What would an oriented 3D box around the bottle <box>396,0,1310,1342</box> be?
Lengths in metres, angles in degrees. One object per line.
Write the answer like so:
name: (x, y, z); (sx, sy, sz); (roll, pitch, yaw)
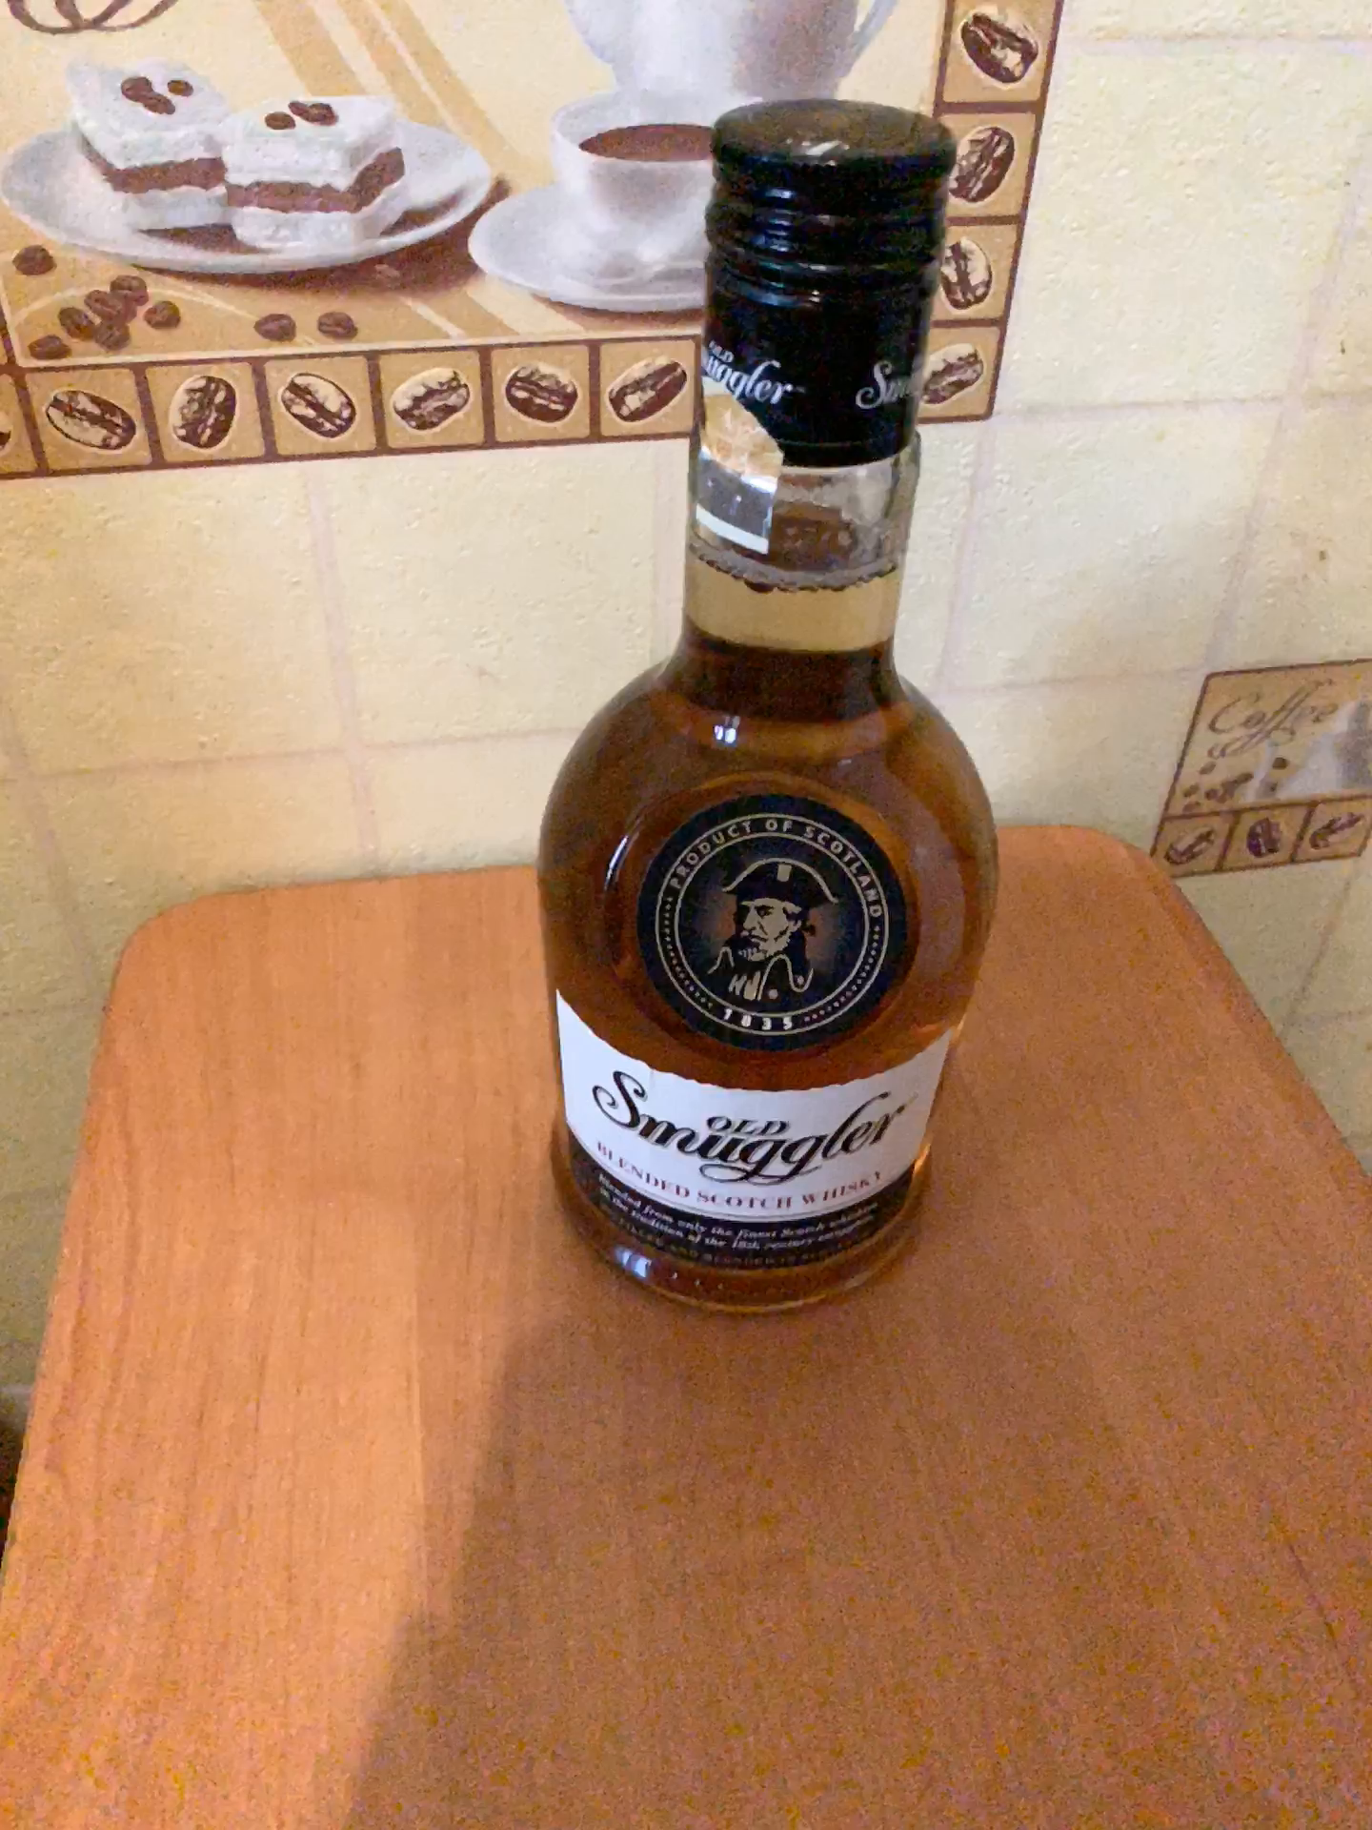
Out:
bottle: (0.017, -0.026, 0.260); (0.100, 0.229, 0.080); (4, 40, 2)
